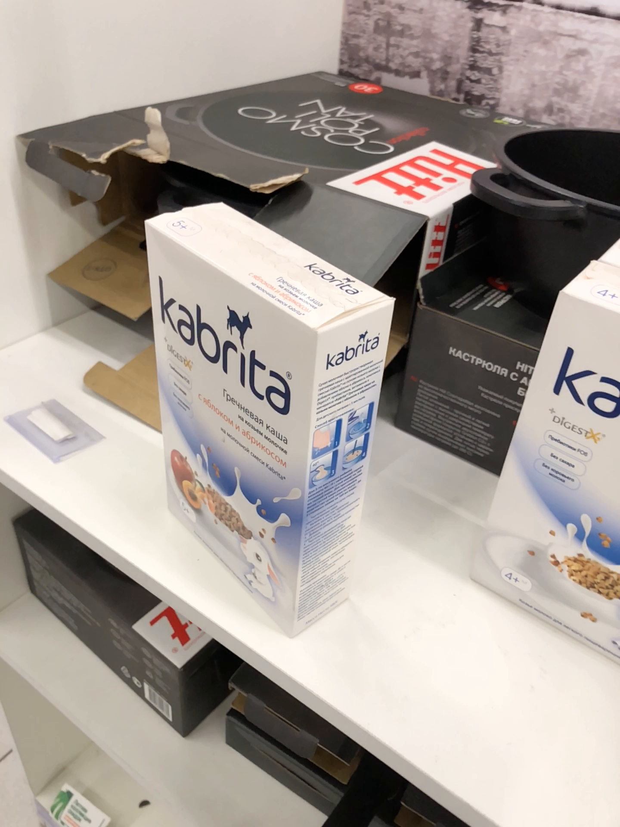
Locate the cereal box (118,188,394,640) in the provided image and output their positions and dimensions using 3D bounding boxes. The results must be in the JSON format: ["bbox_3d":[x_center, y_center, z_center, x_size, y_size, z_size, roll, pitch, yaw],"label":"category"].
[{"bbox_3d":[-0.037,0.002,0.373,0.050,0.199,0.140,-25,46,-35],"label":"cereal box"}]
